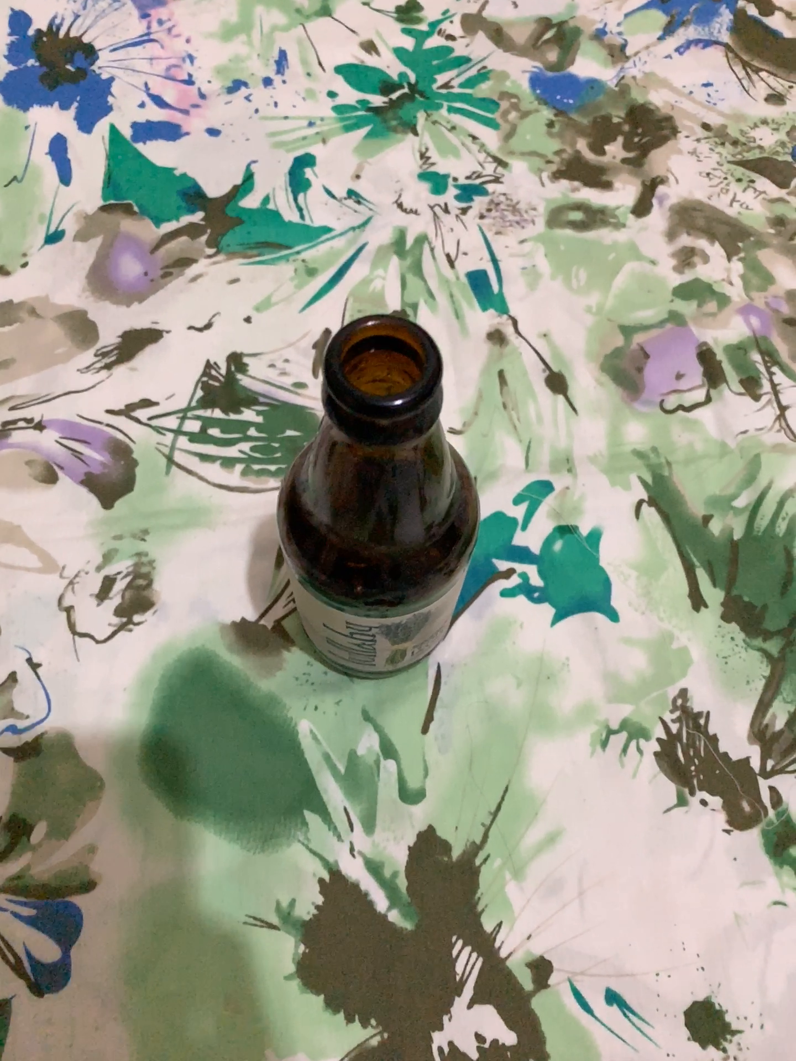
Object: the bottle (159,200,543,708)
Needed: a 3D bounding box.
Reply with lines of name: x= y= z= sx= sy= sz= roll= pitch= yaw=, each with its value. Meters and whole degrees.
bottle: x=-0.010 y=-0.002 z=0.248 sx=0.070 sy=0.180 sz=0.070 roll=1 pitch=67 yaw=-2
